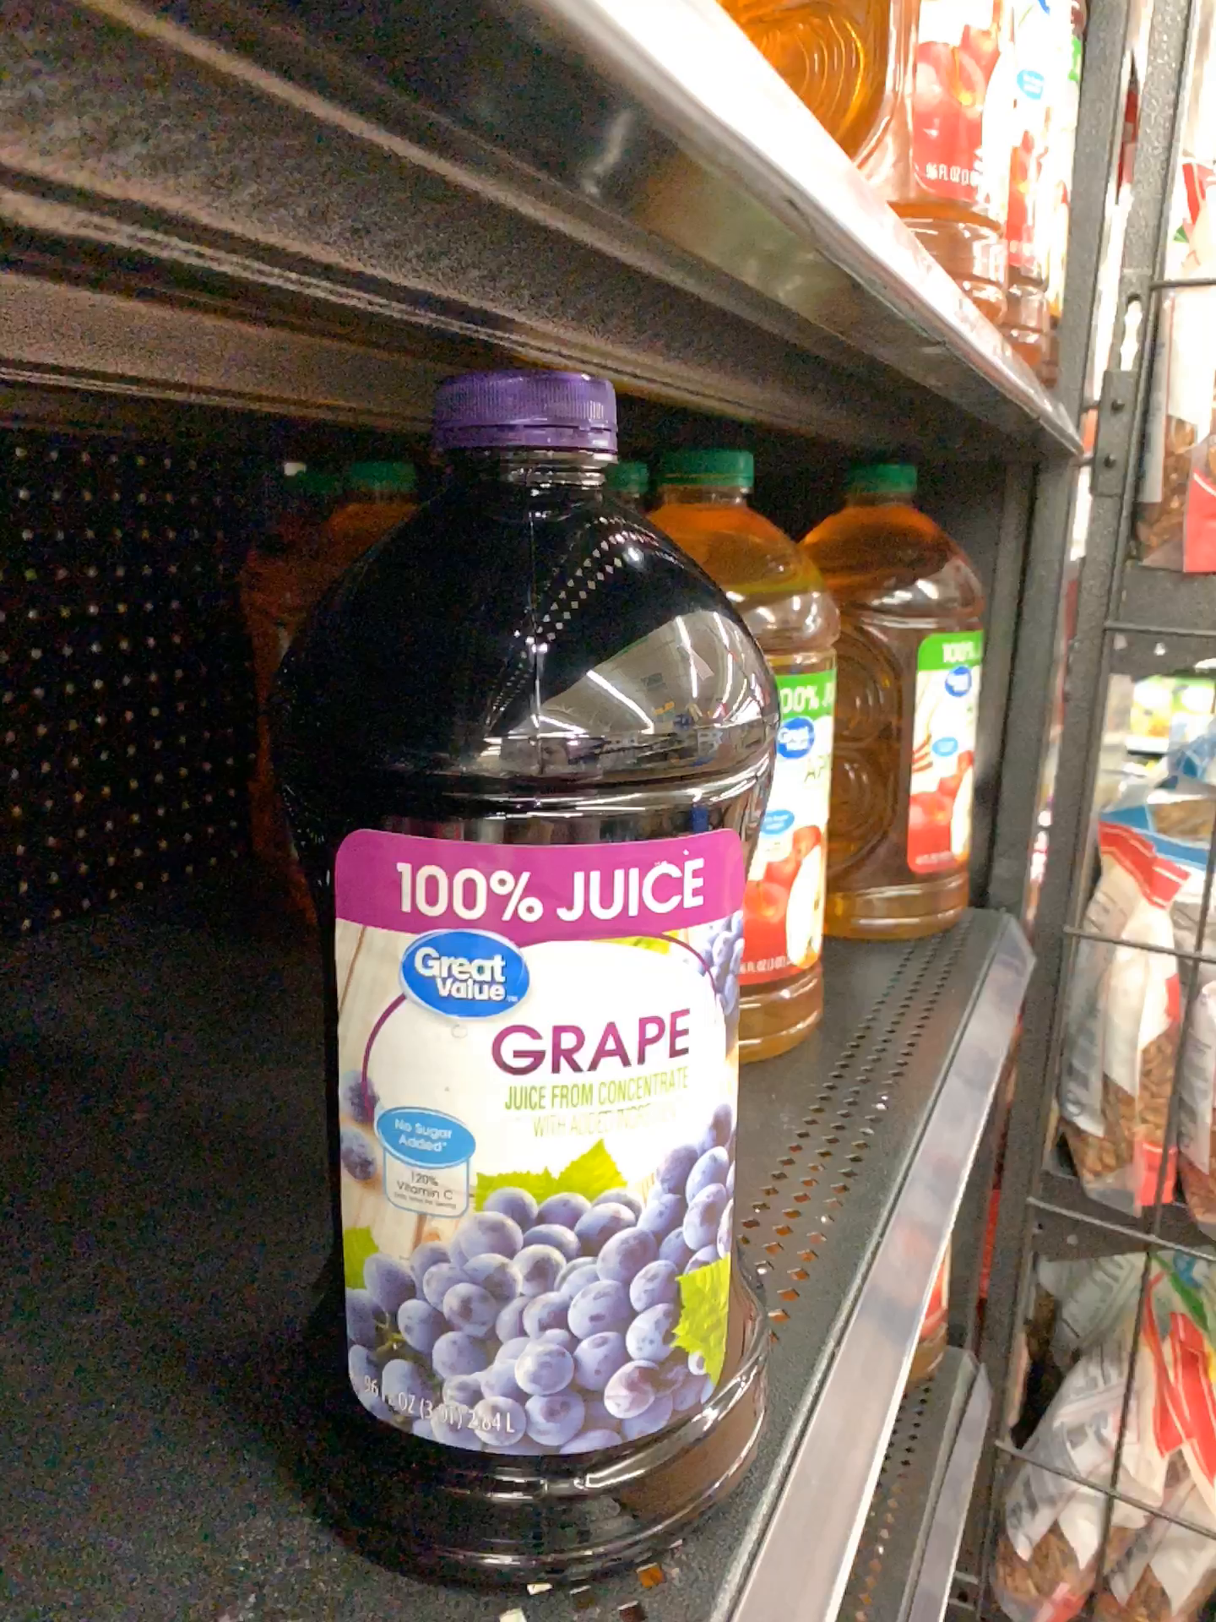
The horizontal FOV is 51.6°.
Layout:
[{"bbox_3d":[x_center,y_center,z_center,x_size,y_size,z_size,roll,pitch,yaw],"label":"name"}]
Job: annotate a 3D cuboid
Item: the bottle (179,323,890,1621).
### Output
[{"bbox_3d":[-0.023,0.033,0.329,0.130,0.279,0.140,1,13,0],"label":"bottle"}]
